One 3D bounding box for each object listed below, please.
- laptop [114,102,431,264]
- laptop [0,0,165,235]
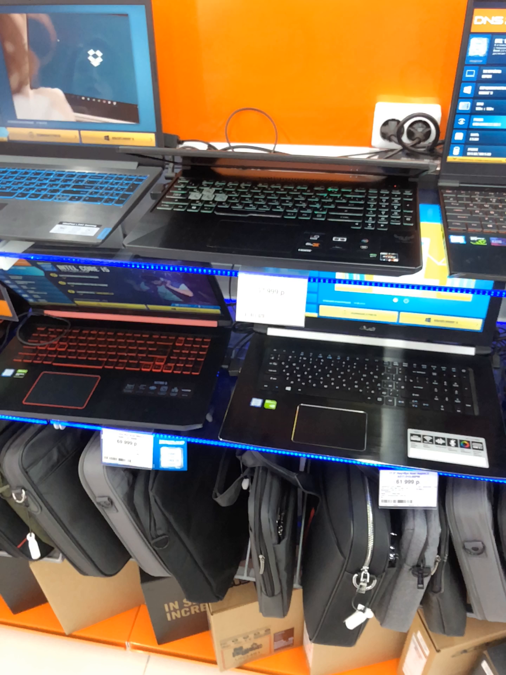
[{"bbox_3d":[0.040,-0.215,0.730,0.347,0.106,0.240,5,38,9],"label":"laptop"},{"bbox_3d":[-0.349,-0.328,0.779,0.356,0.235,0.284,5,38,9],"label":"laptop"}]
